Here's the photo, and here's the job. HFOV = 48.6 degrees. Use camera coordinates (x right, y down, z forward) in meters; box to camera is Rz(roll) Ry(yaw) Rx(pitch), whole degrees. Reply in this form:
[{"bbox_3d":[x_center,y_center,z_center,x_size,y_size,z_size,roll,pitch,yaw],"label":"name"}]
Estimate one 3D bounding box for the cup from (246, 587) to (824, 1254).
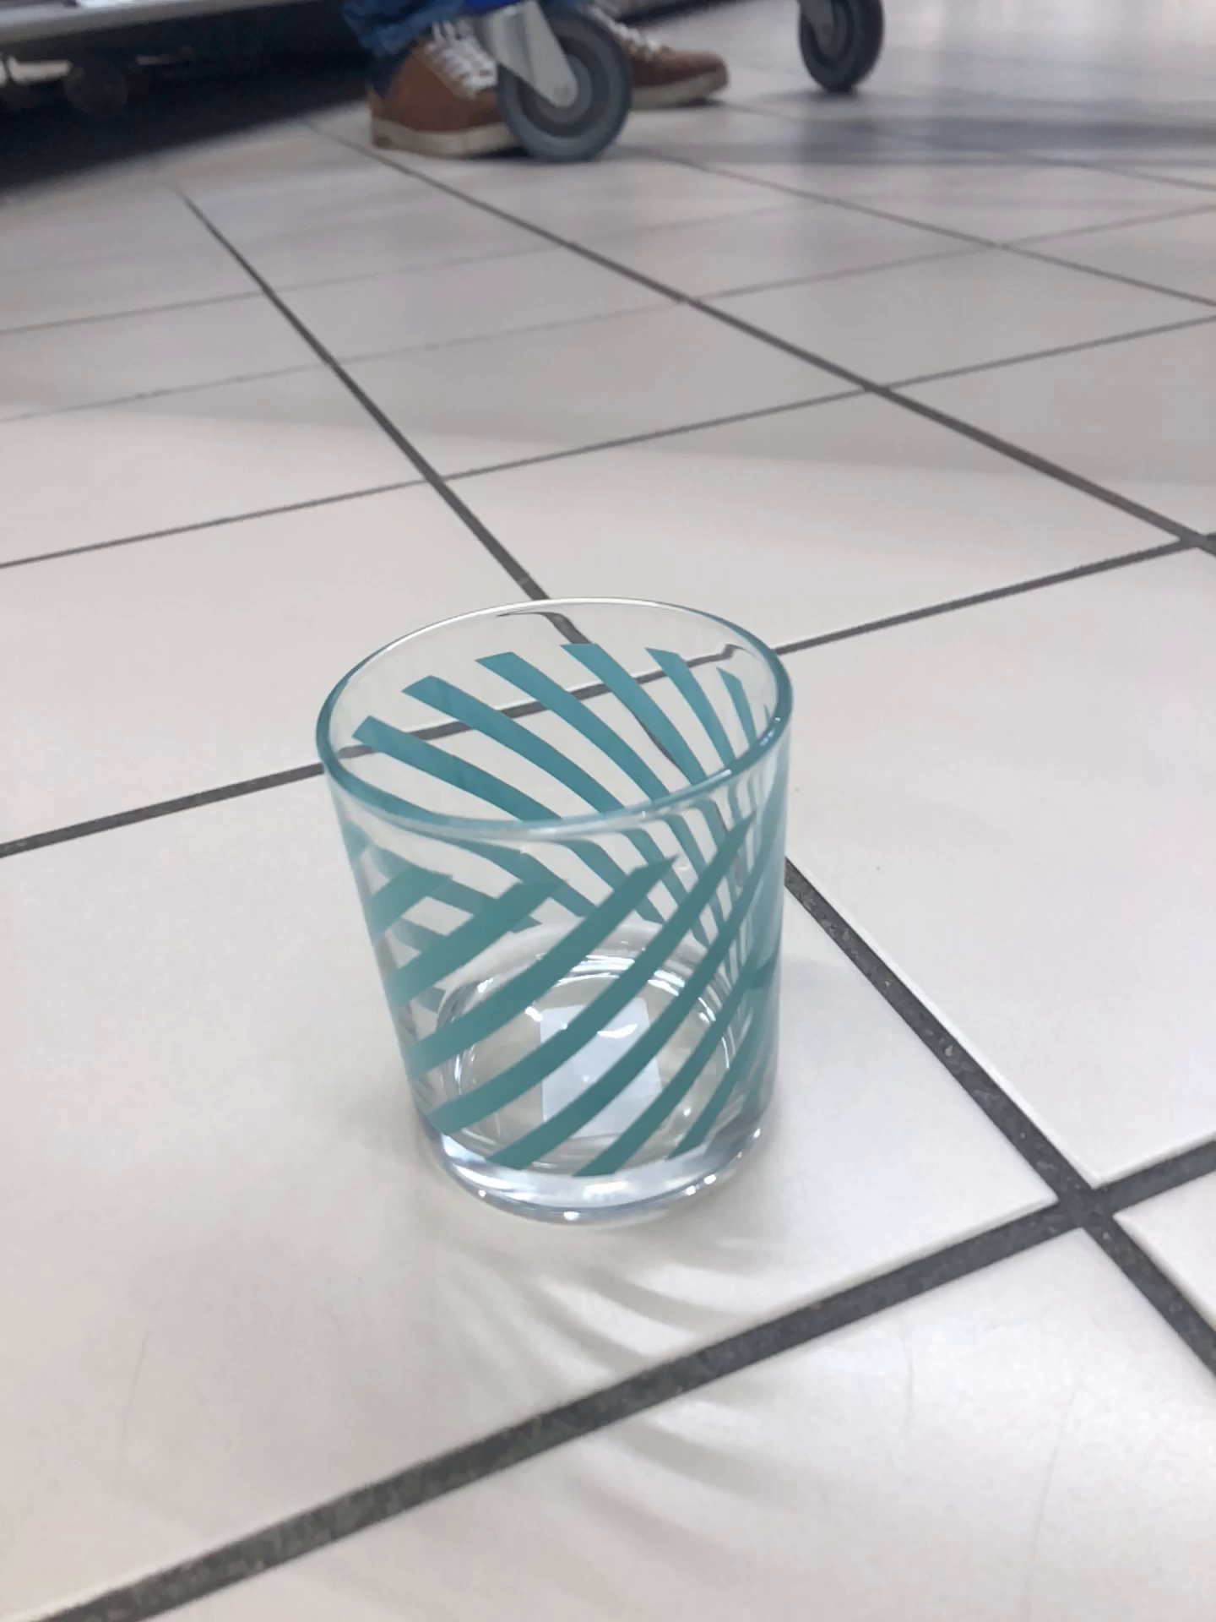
[{"bbox_3d":[-0.009,0.017,0.238,0.079,0.080,0.076,-3,34,2],"label":"cup"}]
